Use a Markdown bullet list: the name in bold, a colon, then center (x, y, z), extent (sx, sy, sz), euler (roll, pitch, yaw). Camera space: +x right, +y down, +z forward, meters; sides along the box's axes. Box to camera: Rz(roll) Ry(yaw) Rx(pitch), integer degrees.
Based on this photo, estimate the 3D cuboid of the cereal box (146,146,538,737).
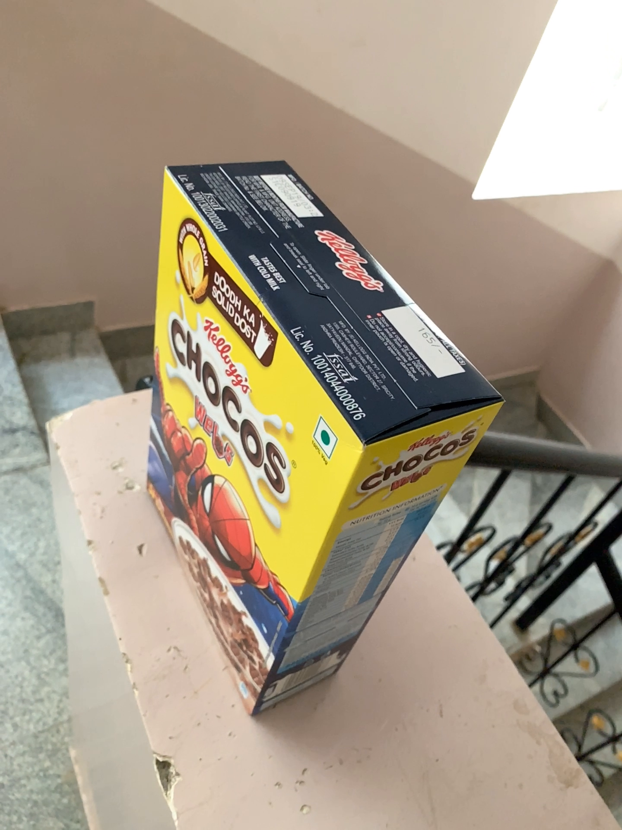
- **cereal box**: center (-0.021, 0.022, 0.347), extent (0.070, 0.248, 0.191), euler (-13, 52, -27)
